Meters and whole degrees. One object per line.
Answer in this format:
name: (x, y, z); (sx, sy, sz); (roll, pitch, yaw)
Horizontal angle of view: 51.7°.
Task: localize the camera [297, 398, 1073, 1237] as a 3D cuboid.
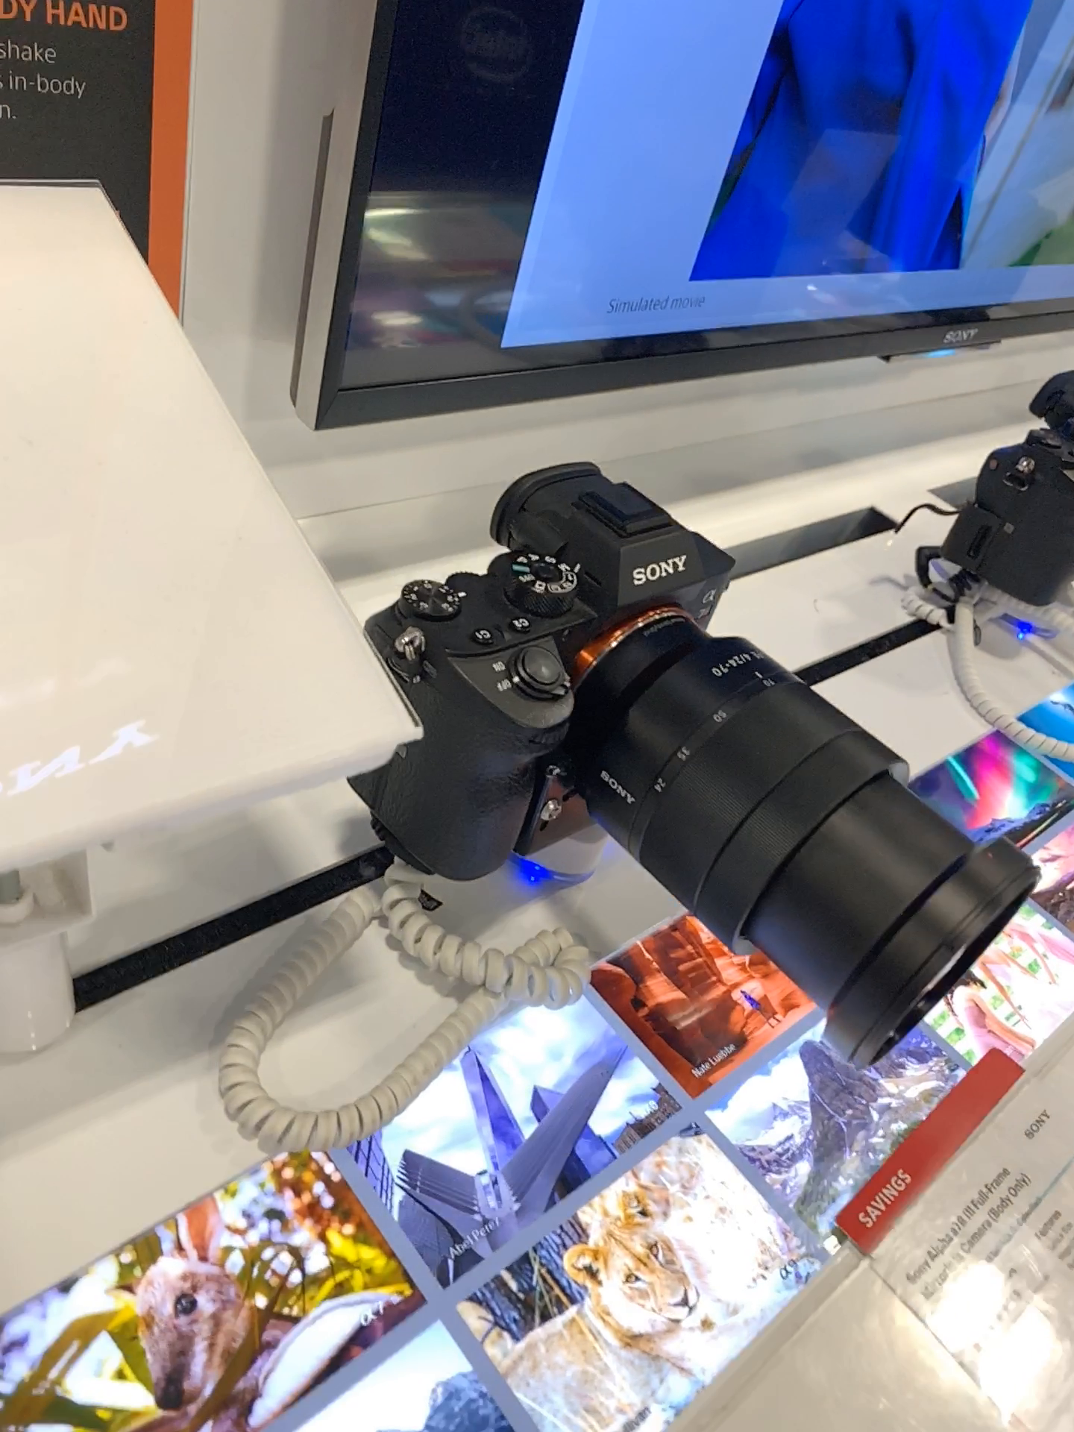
camera: (0.047, 0.008, 0.316); (0.130, 0.099, 0.193); (-25, 54, -40)
